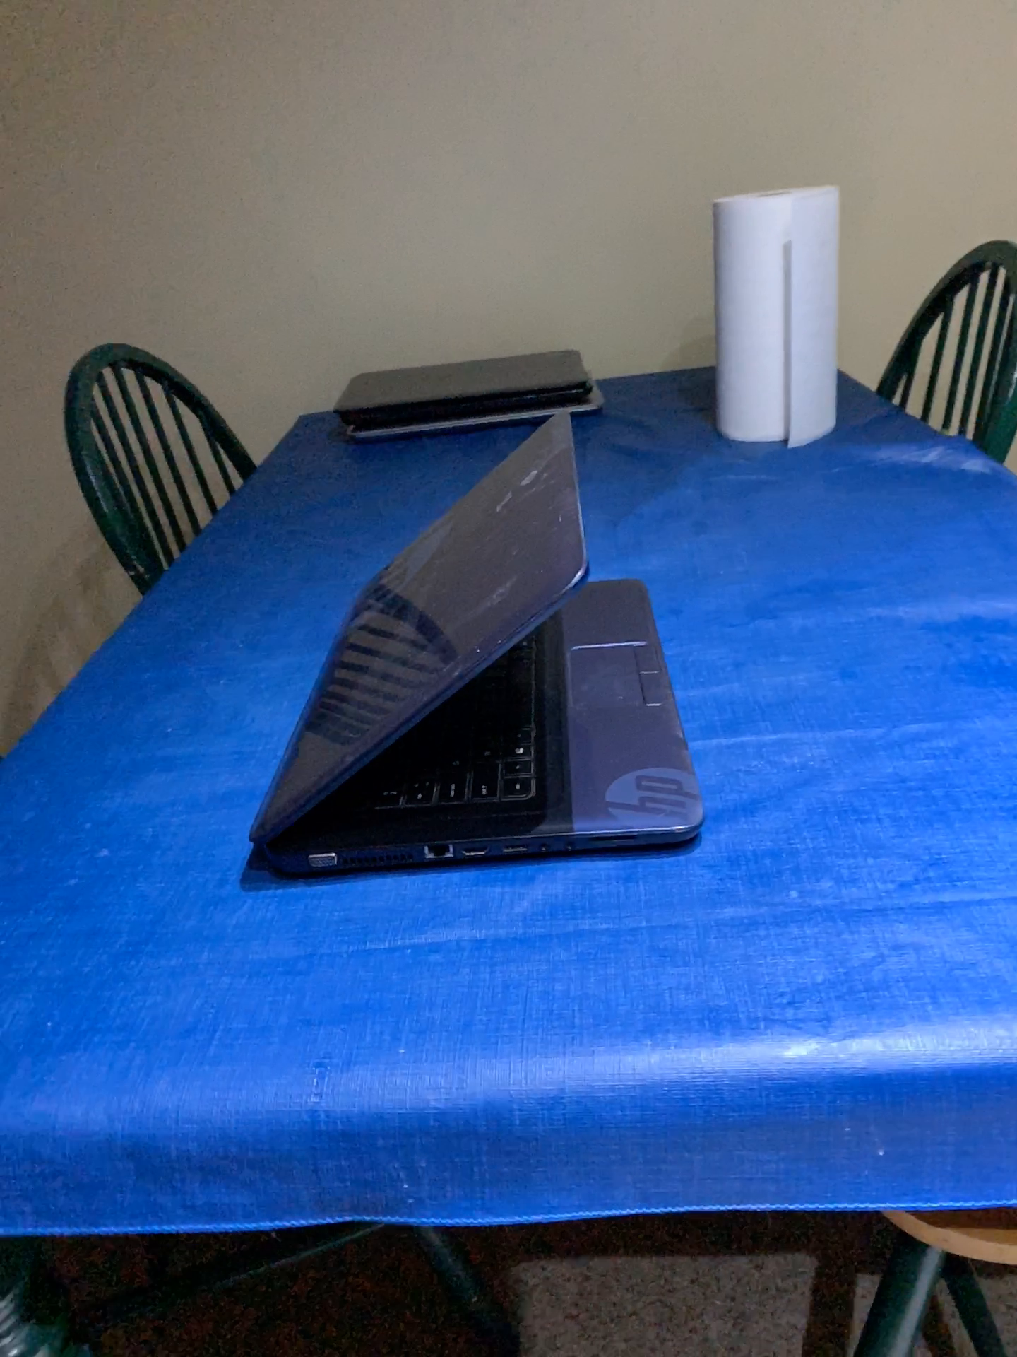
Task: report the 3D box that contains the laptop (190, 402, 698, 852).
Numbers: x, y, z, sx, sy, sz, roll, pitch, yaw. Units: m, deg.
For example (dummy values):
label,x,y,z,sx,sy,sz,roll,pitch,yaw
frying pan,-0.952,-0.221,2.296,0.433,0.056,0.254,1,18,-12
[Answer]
label,x,y,z,sx,sy,sz,roll,pitch,yaw
laptop,-0.023,-0.062,0.690,0.239,0.141,0.365,-4,26,3
